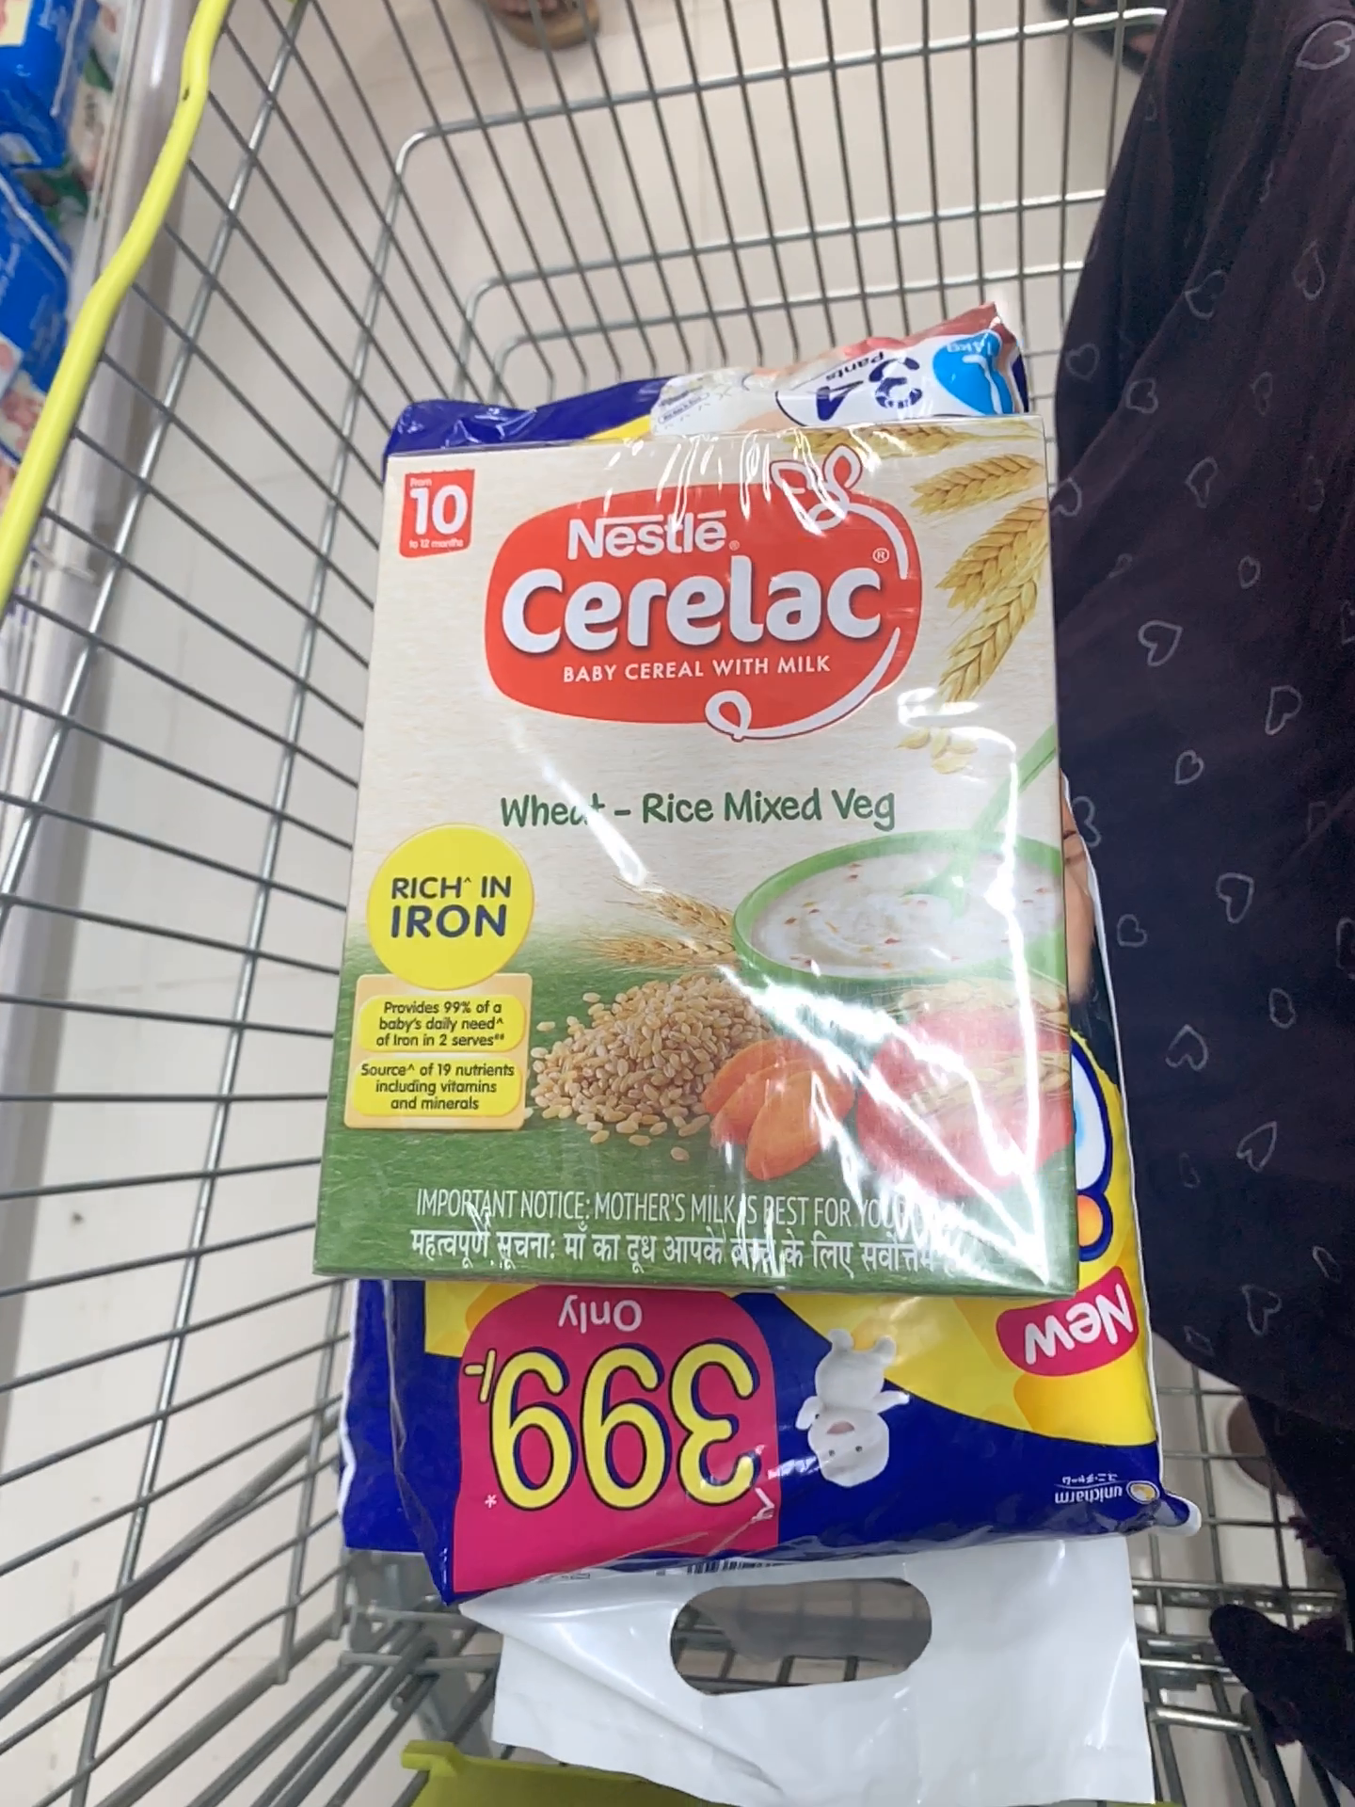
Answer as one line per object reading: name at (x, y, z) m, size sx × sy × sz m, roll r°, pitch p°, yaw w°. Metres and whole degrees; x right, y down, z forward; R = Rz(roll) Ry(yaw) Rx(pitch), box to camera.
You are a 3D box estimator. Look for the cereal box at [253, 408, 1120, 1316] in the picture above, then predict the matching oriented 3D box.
cereal box at (0.004, -0.008, 0.303) m, size 0.160 × 0.050 × 0.180 m, roll -1°, pitch 75°, yaw 10°
